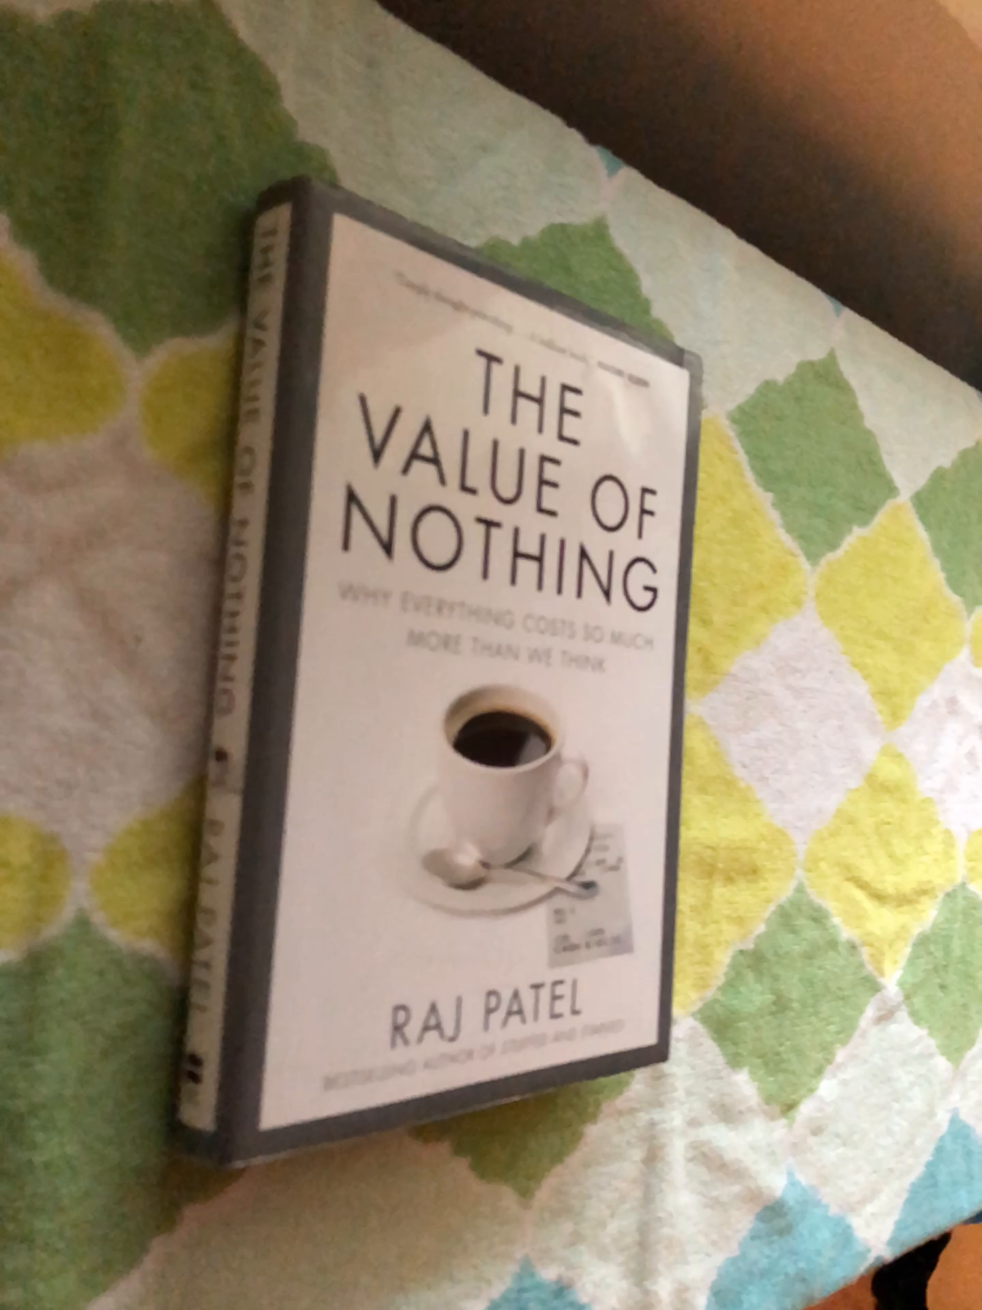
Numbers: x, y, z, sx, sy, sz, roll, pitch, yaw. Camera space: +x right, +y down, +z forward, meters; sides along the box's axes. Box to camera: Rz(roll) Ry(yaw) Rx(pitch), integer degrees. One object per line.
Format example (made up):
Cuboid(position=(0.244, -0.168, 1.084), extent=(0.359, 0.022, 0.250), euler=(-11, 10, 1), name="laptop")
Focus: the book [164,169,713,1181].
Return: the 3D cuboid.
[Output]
Cuboid(position=(-0.002, 0.007, 0.275), extent=(0.141, 0.030, 0.206), euler=(8, 83, -42), name="book")
